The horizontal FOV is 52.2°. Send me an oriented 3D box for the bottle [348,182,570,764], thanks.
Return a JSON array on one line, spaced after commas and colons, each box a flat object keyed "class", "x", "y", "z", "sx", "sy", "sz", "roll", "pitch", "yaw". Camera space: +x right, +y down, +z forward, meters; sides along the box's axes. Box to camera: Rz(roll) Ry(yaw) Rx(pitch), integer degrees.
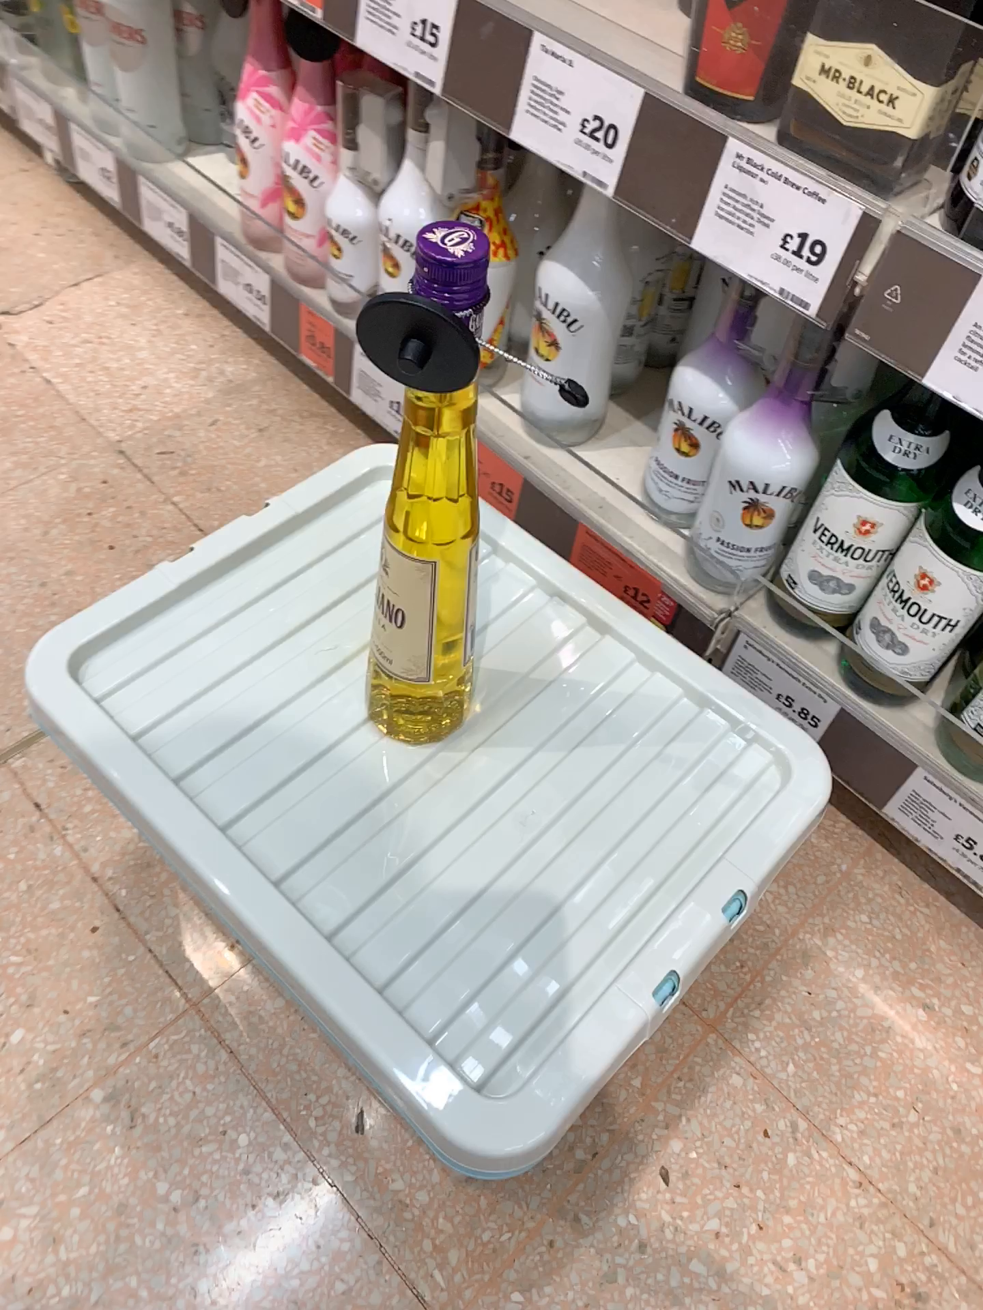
[{"class": "bottle", "x": -0.032, "y": -0.069, "z": 0.553, "sx": 0.070, "sy": 0.347, "sz": 0.073, "roll": 4, "pitch": 53, "yaw": -5}]
